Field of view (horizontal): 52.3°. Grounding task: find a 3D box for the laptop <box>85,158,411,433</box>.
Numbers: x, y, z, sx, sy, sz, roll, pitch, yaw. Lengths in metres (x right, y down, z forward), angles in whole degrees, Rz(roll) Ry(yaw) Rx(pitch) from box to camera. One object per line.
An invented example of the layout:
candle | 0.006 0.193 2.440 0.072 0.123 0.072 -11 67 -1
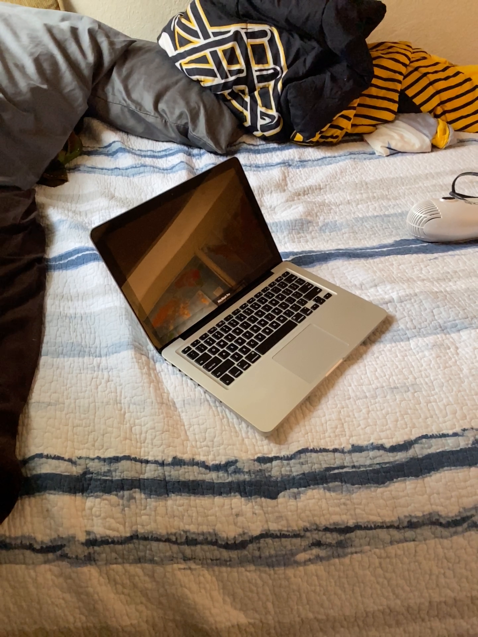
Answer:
laptop | 0.015 -0.067 0.766 0.346 0.165 0.321 32 53 28
